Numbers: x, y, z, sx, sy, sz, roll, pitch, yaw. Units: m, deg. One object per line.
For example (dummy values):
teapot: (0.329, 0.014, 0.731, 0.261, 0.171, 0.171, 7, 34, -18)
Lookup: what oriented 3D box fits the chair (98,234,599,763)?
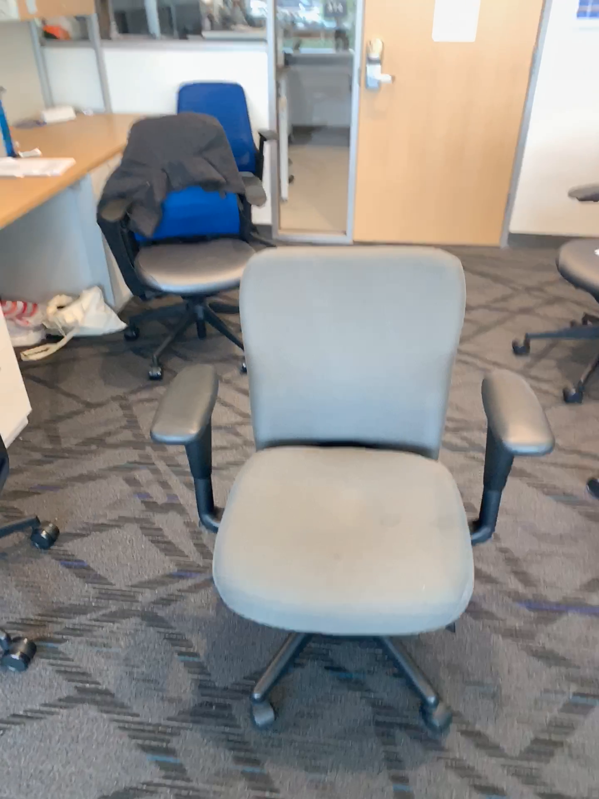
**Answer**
chair: (0.100, 0.170, 1.299, 0.670, 0.813, 0.666, 5, 33, 7)
